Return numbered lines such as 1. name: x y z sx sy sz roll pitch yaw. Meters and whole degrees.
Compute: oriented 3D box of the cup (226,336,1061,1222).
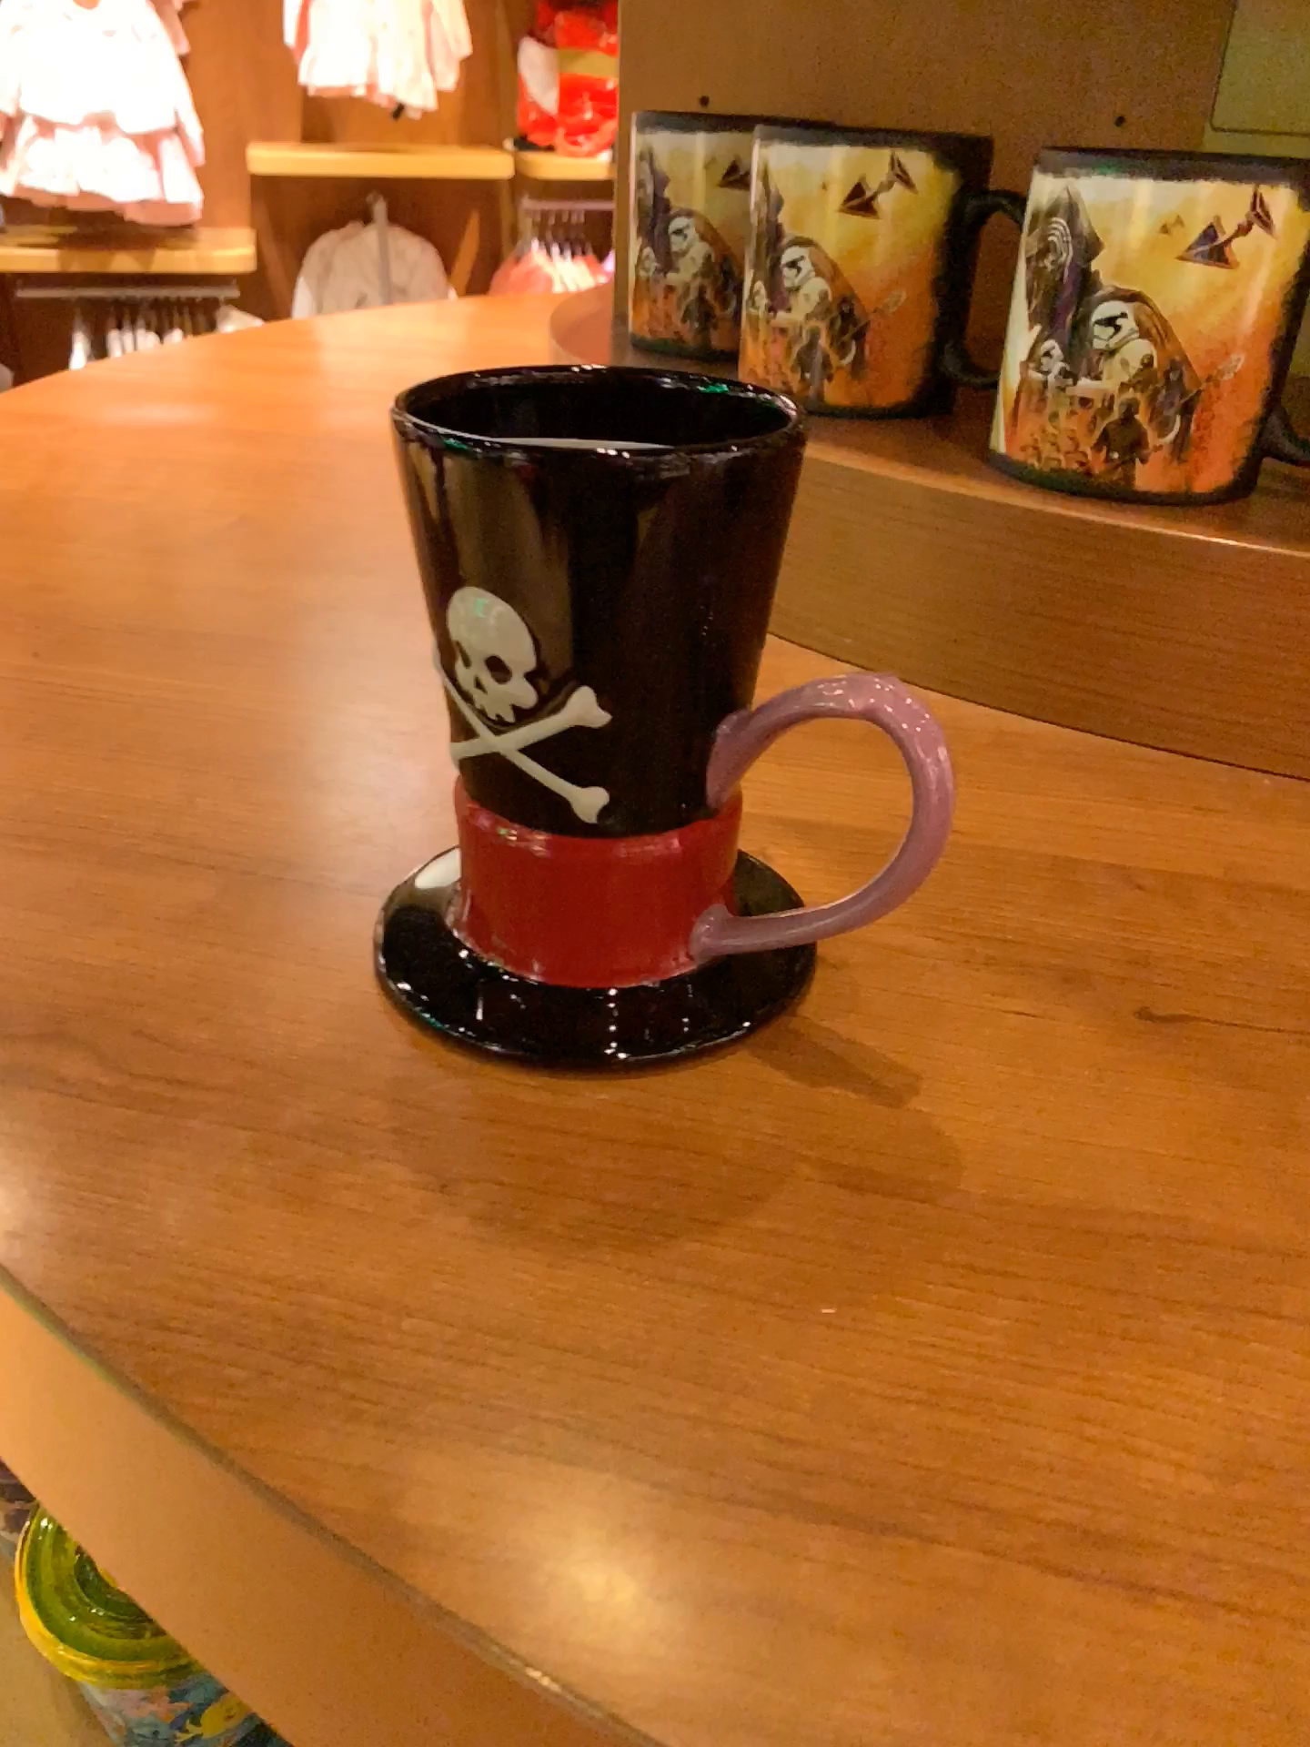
1. cup: -0.003 -0.034 0.314 0.134 0.144 0.110 22 35 30
